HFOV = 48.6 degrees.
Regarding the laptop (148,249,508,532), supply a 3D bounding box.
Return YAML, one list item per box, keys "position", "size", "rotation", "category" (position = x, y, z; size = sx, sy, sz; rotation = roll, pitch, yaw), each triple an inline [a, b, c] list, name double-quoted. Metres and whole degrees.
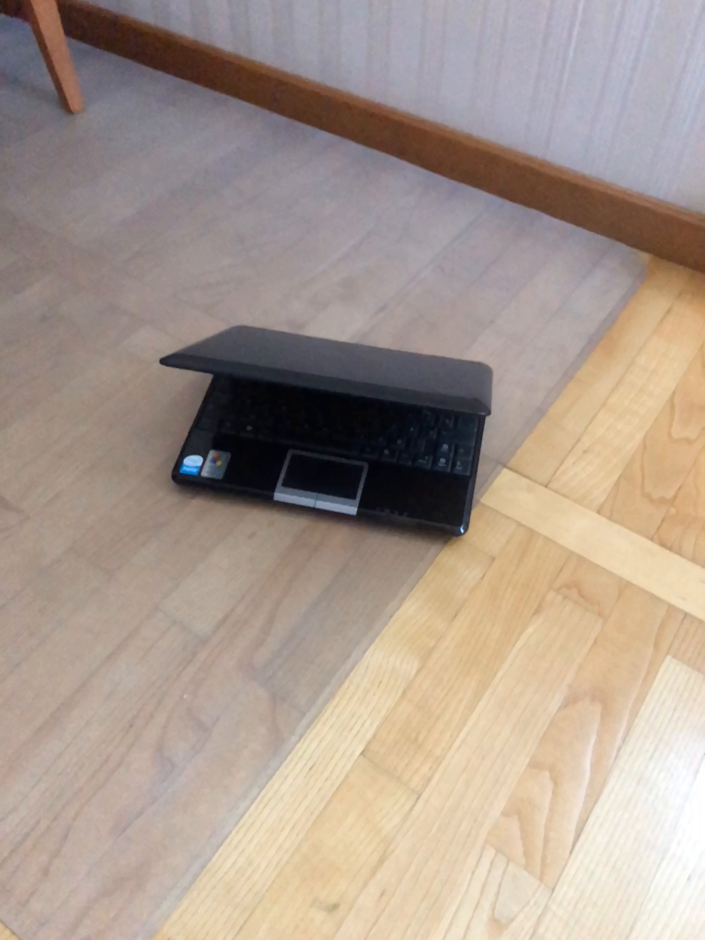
- position: [-0.013, -0.075, 0.688]
  size: [0.263, 0.102, 0.183]
  rotation: [10, 55, 6]
  category: "laptop"
